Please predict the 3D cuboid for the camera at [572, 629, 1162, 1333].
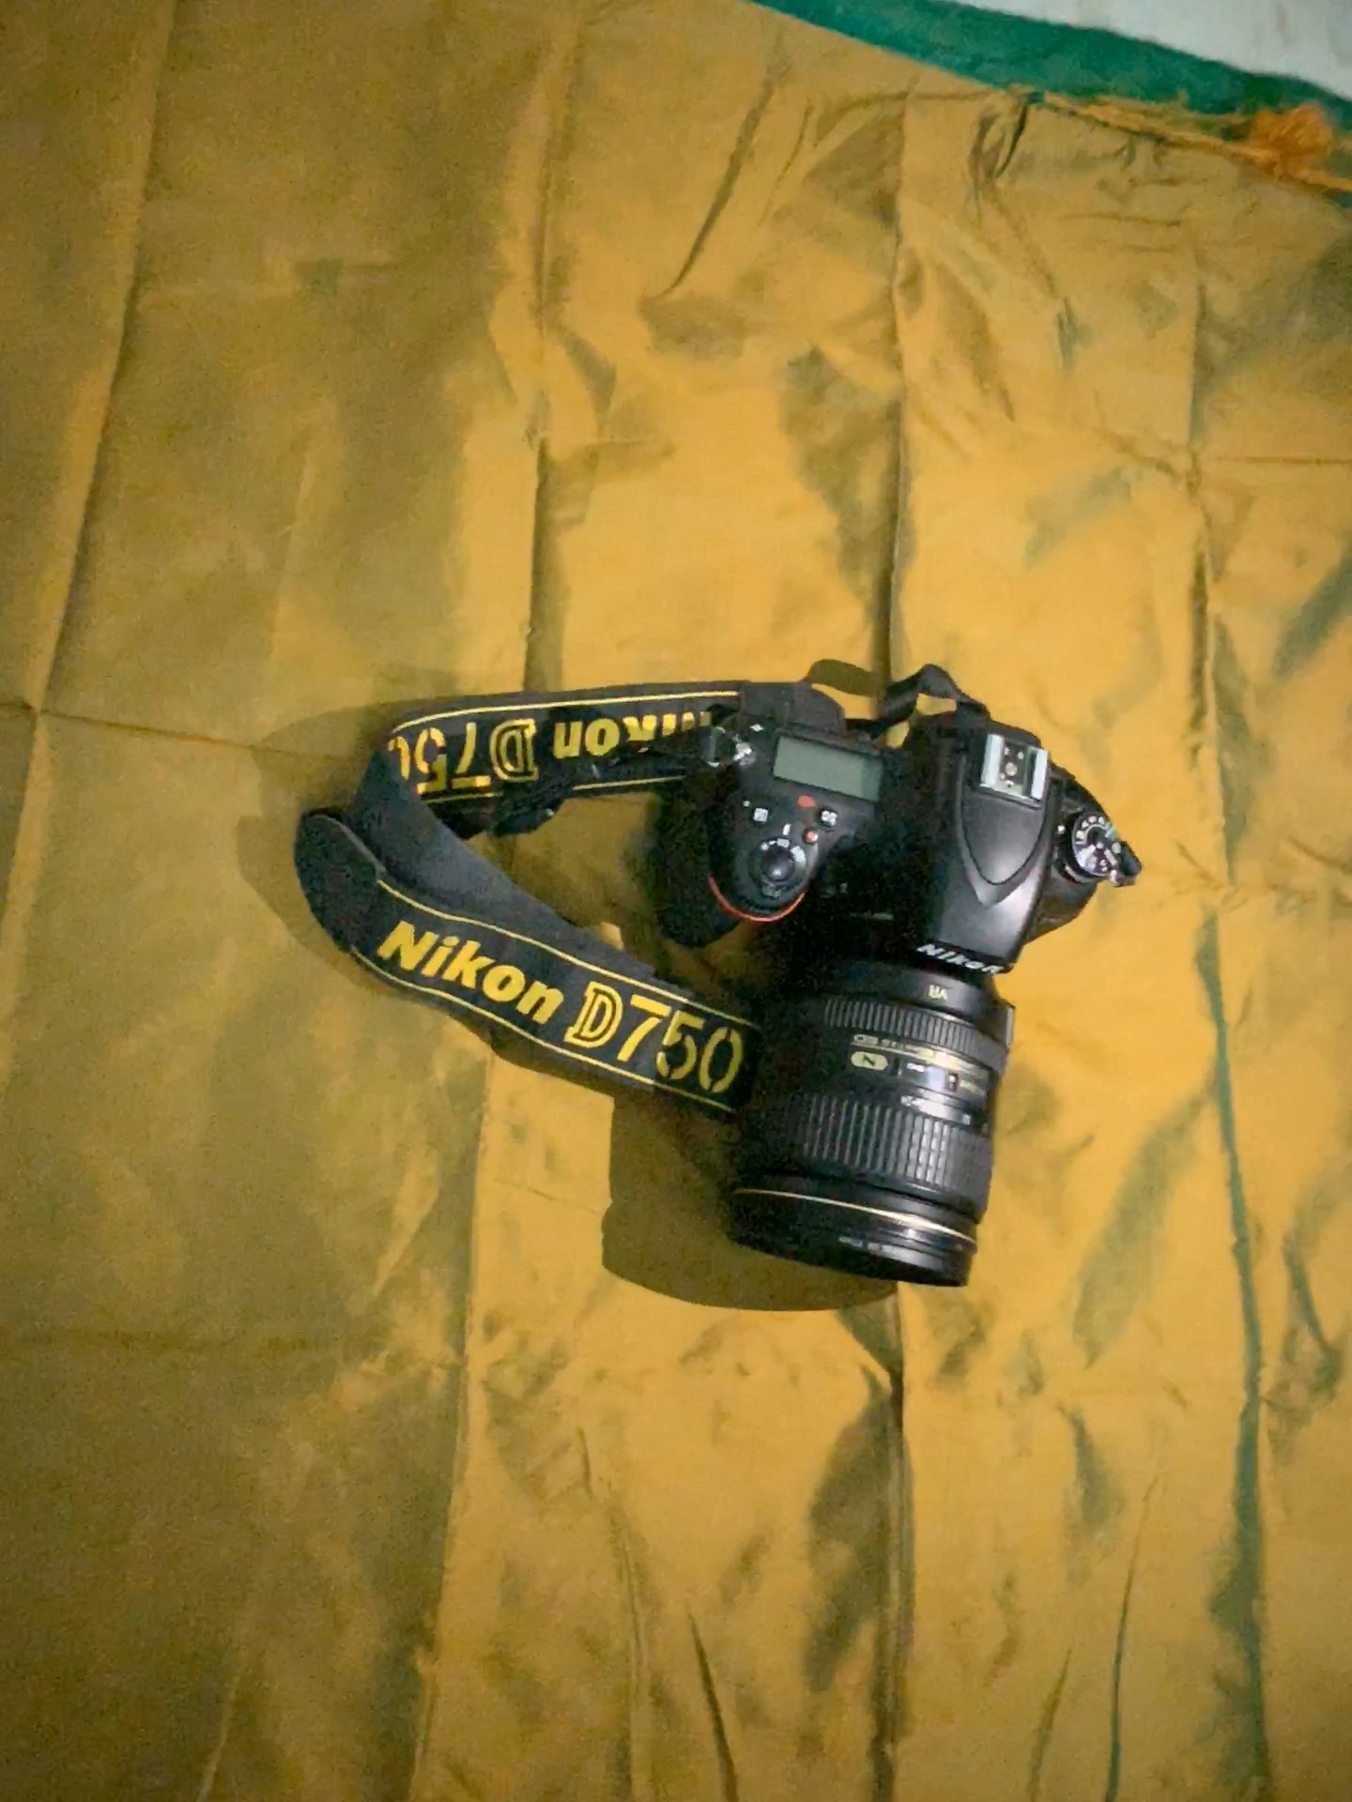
[{"bbox_3d":[0.063,0.034,0.466,0.150,0.101,0.190,13,72,-12],"label":"camera"}]
